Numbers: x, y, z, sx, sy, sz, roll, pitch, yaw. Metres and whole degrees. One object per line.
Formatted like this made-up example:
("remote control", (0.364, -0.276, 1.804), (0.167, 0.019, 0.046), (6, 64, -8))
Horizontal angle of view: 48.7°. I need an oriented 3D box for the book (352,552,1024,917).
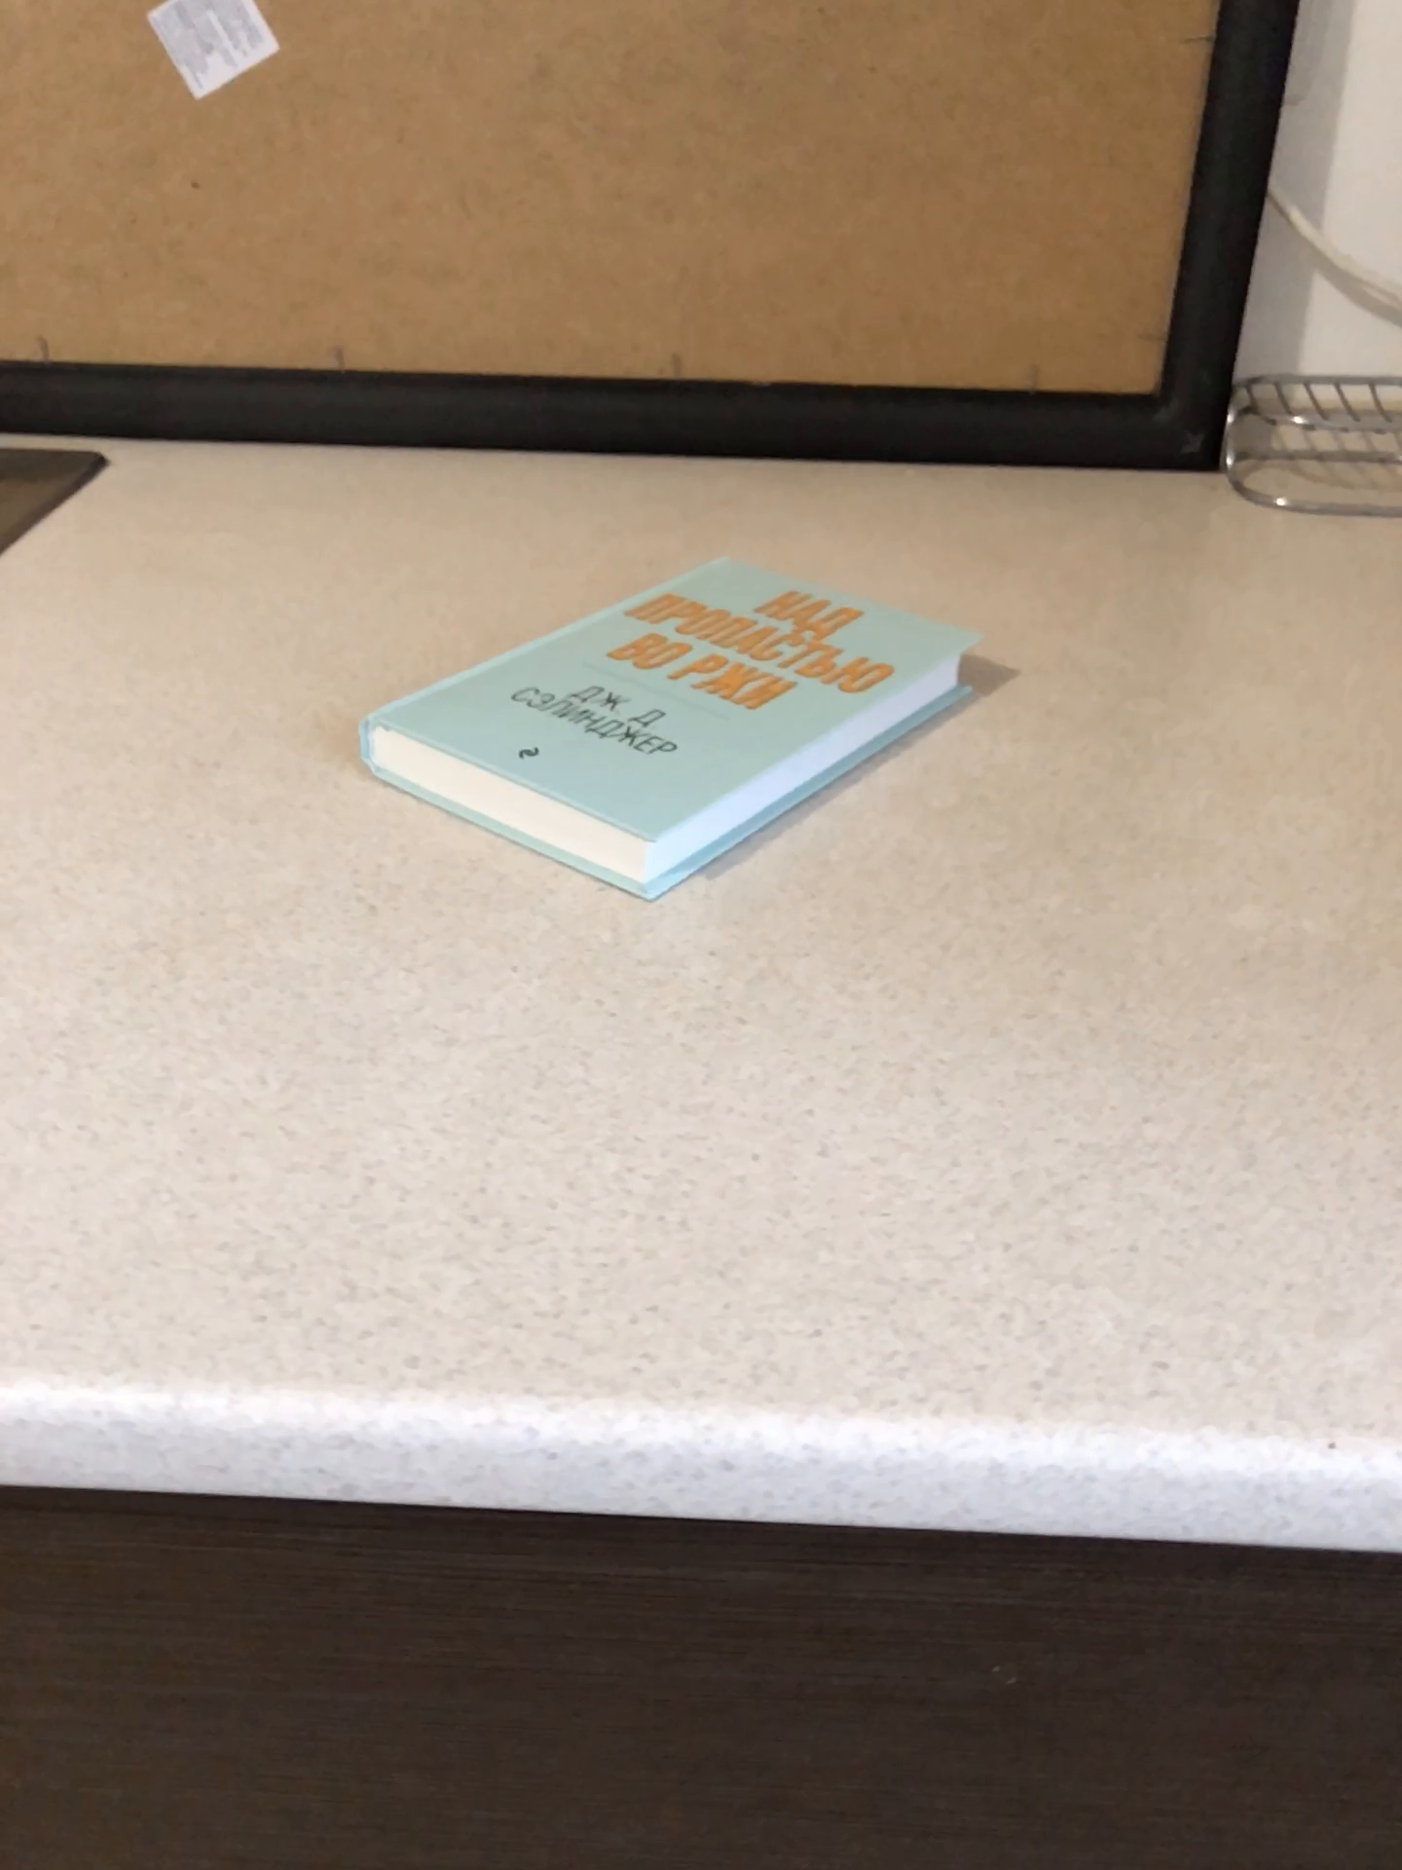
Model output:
("book", (0.002, -0.072, 0.480), (0.118, 0.020, 0.181), (25, 40, 32))
